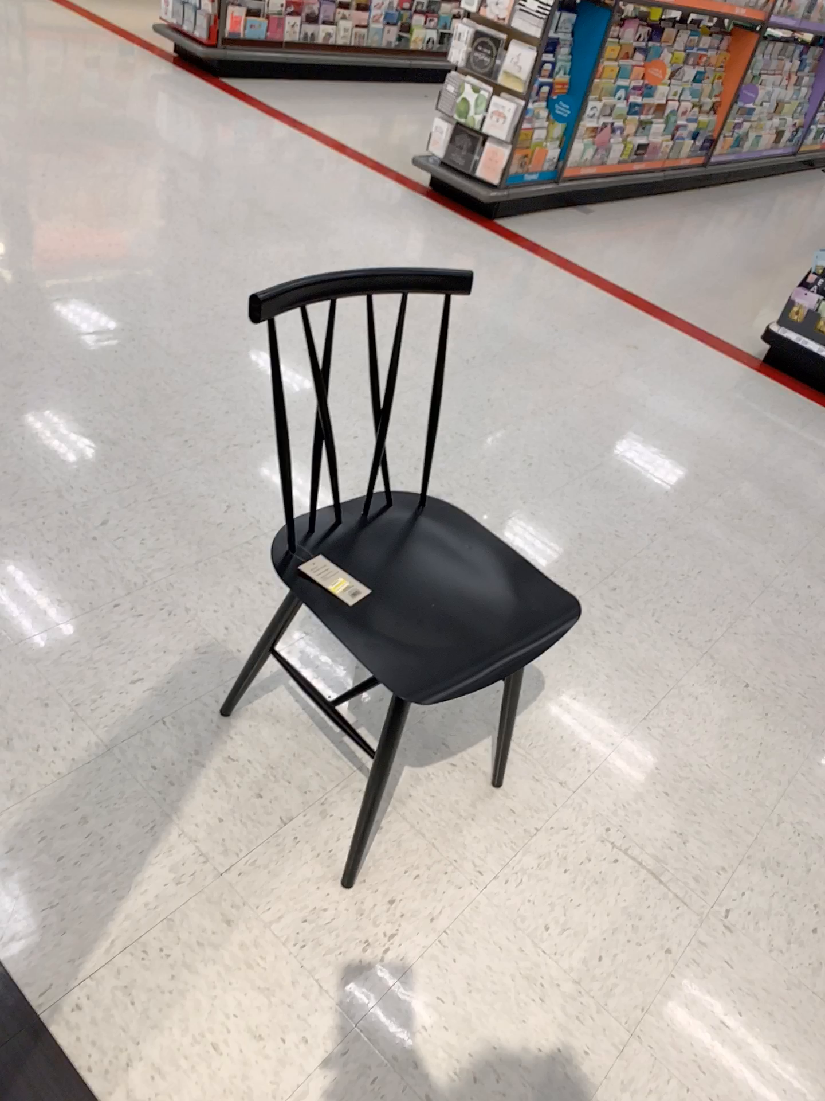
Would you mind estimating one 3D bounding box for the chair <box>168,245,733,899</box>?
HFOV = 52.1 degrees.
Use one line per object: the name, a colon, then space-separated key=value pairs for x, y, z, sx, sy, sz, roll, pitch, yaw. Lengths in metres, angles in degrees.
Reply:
chair: x=-0.006 y=0.014 z=1.306 sx=0.482 sy=0.736 sz=0.521 roll=-23 pitch=53 yaw=-40
